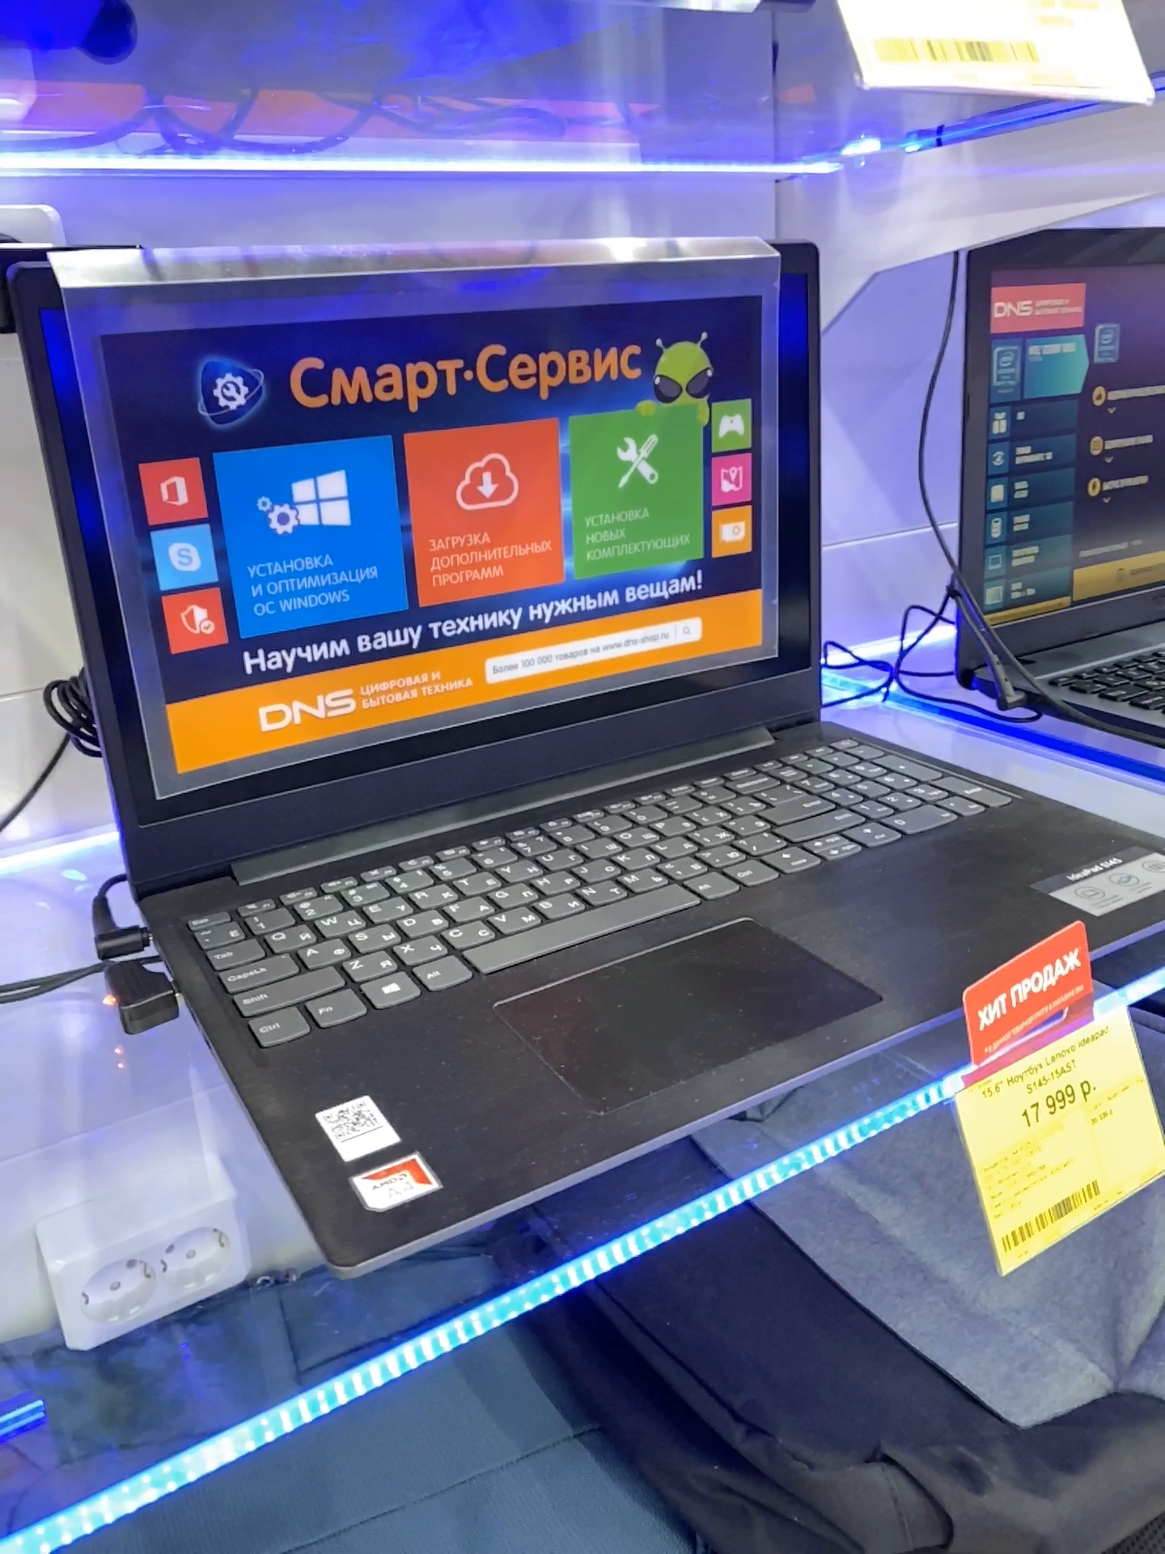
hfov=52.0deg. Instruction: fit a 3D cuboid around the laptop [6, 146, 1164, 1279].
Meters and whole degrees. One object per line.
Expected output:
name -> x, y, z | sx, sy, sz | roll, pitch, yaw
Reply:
laptop -> 0.027, -0.068, 0.430 | 0.361, 0.239, 0.258 | -14, 22, -27
